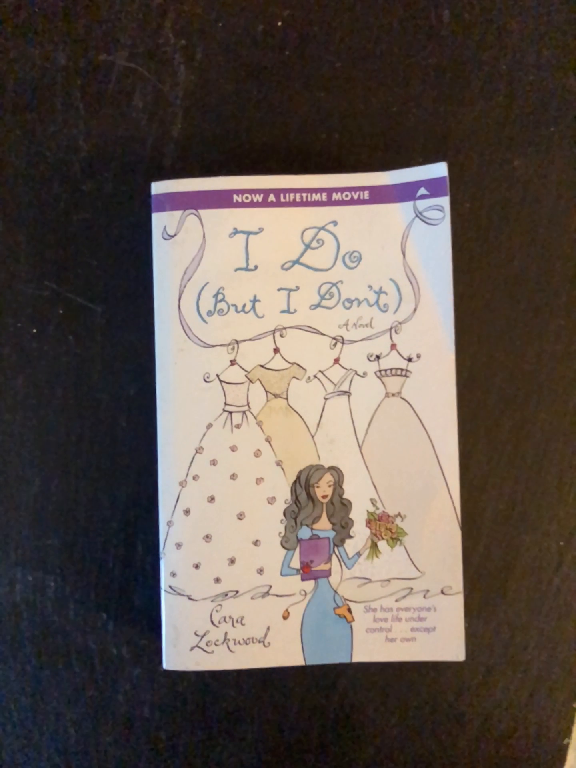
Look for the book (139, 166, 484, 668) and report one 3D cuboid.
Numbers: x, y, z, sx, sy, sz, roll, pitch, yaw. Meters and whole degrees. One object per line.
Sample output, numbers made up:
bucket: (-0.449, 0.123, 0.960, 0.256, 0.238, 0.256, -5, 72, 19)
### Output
book: (0.007, 0.011, 0.230, 0.110, 0.032, 0.164, -2, 89, 0)
